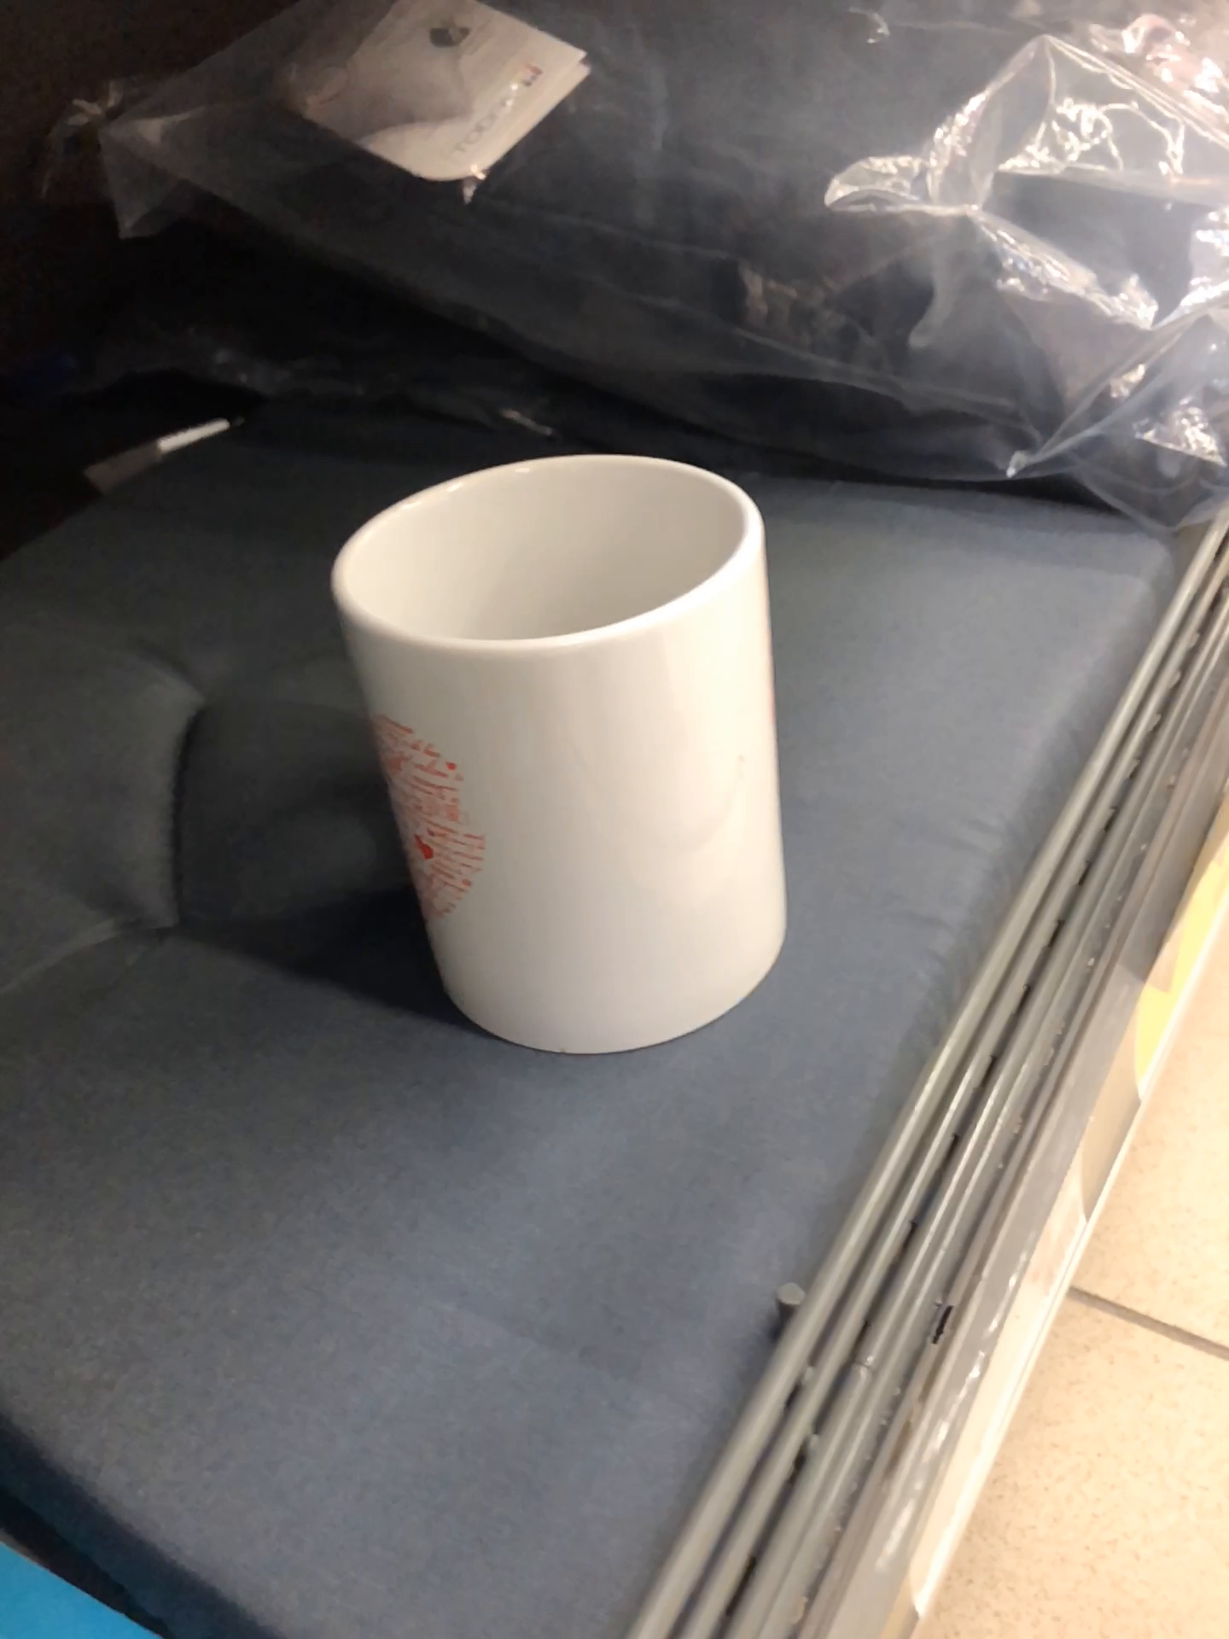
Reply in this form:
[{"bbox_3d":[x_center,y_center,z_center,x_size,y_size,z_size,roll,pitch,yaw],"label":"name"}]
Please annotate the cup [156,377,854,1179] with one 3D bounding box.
[{"bbox_3d":[-0.023,-0.017,0.290,0.090,0.099,0.120,-24,40,-19],"label":"cup"}]
